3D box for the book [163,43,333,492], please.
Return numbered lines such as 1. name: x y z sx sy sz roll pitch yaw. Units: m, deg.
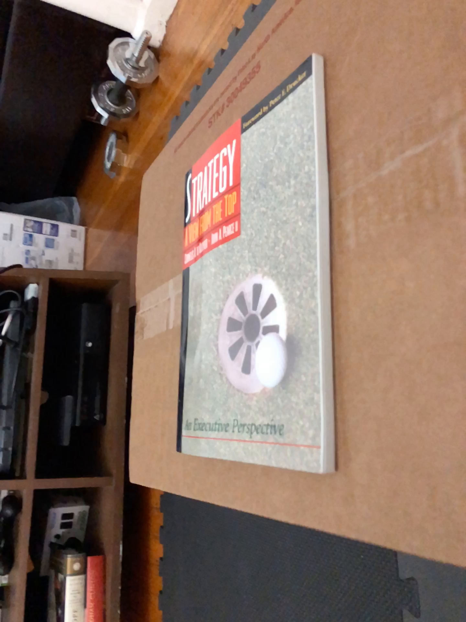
1. book: -0.002 -0.017 0.346 0.181 0.020 0.240 -20 67 60
